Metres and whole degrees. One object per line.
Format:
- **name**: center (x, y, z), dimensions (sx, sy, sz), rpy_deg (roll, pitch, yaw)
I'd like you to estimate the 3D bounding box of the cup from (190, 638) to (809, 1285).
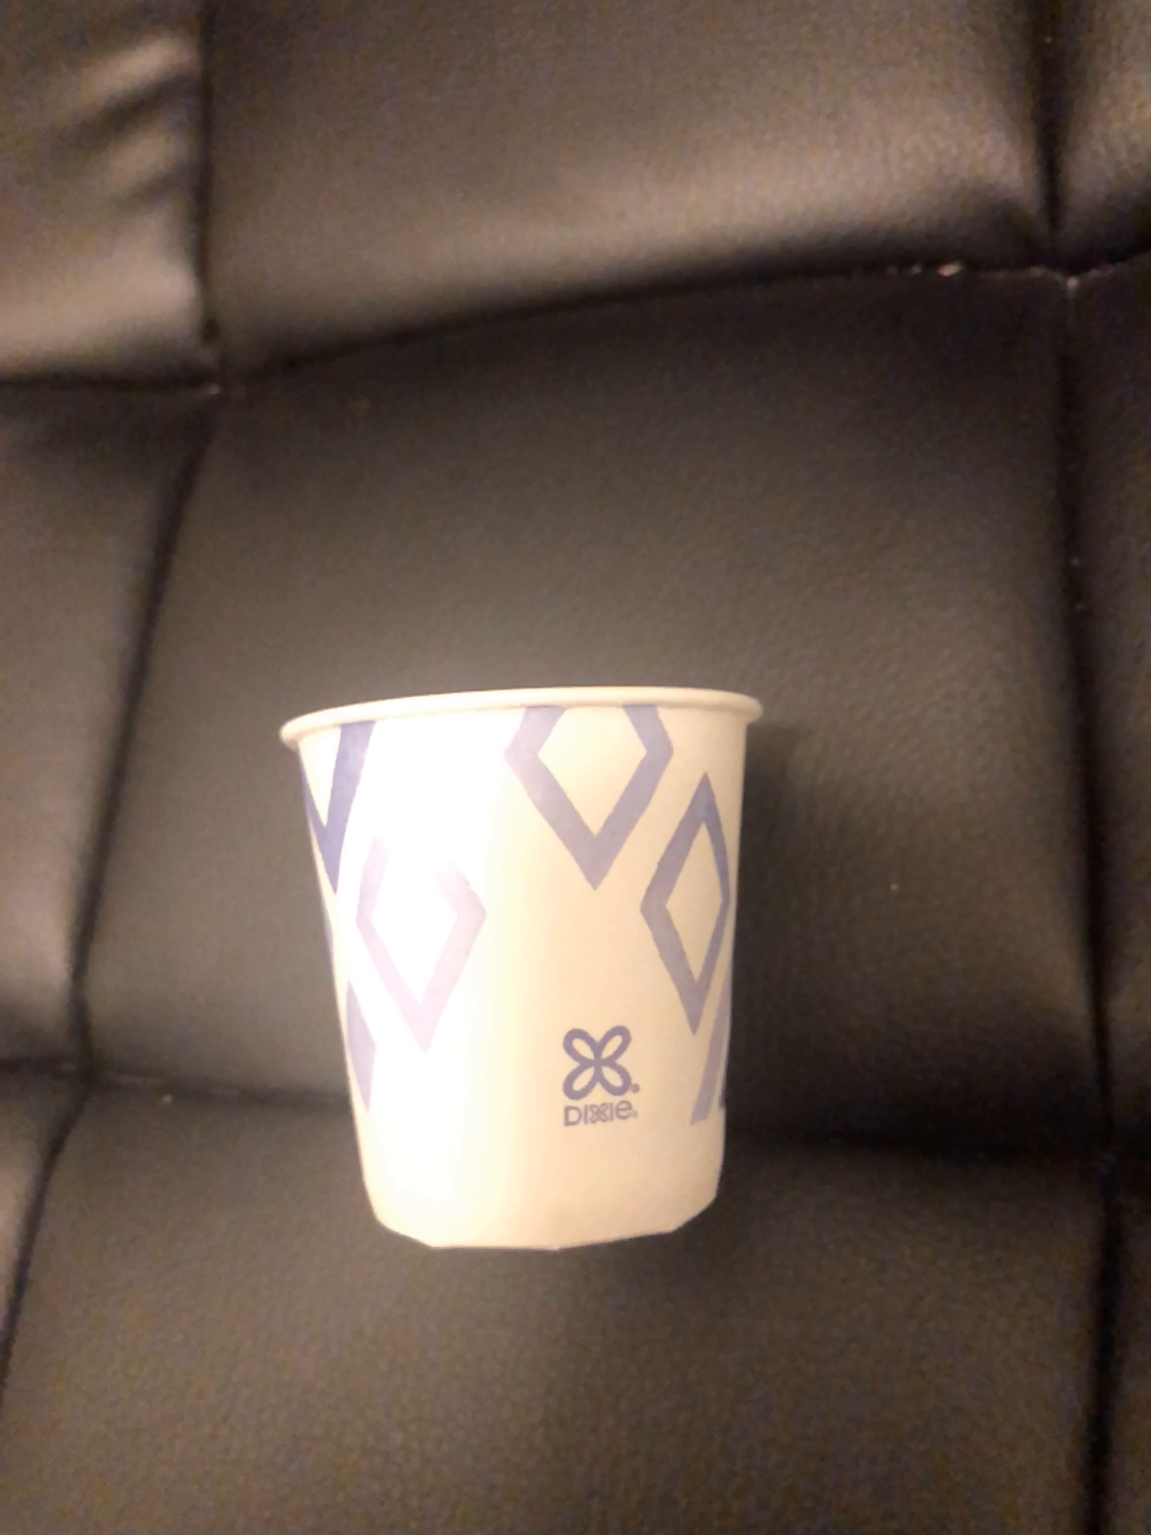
- **cup**: center (-0.006, 0.019, 0.151), dimensions (0.052, 0.049, 0.058), rpy_deg (-3, 88, 22)
